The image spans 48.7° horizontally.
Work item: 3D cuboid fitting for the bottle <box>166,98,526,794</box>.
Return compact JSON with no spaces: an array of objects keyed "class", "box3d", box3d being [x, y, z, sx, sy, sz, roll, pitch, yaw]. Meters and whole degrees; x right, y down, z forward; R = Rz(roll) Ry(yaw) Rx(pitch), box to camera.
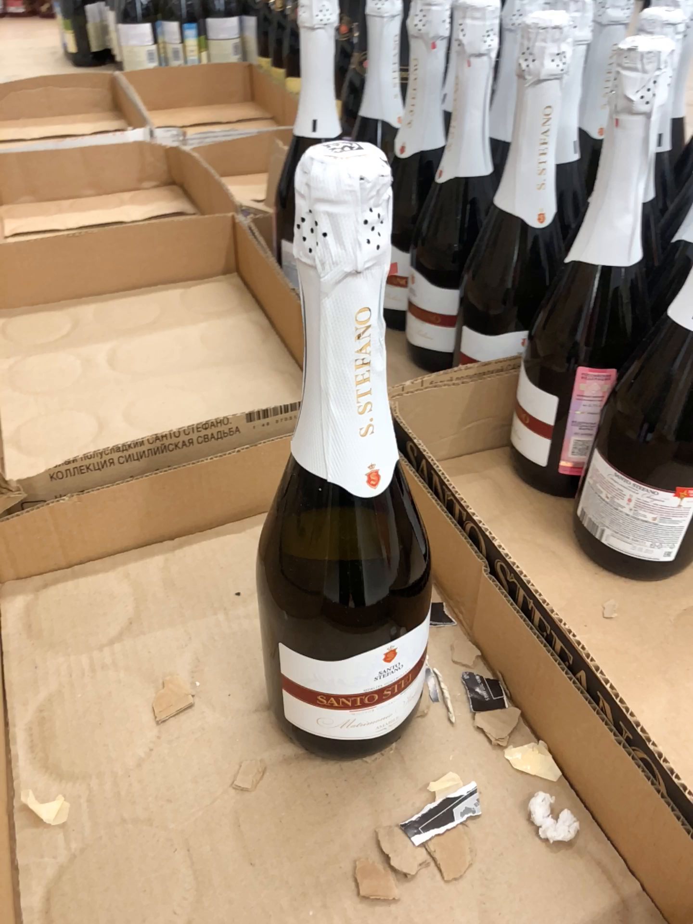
[{"class":"bottle","box3d":[-0.003,0.013,0.354,0.090,0.308,0.090,0,37,0]}]
